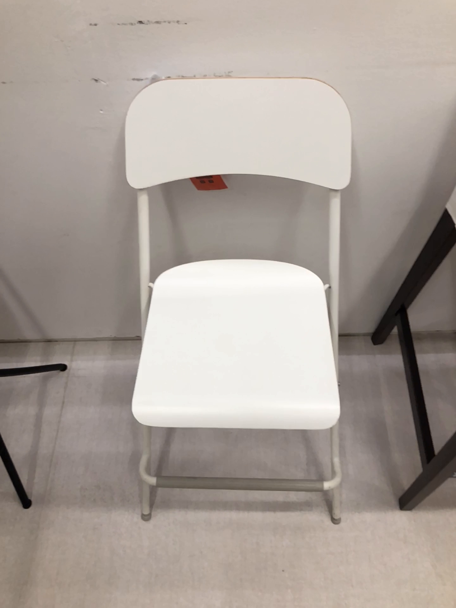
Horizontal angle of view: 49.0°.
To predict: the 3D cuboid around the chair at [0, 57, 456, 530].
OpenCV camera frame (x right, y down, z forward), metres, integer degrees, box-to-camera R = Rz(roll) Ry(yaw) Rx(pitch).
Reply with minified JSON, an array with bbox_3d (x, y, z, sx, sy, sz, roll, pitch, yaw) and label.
[{"bbox_3d":[0.016,0.094,0.976,0.530,0.895,0.483,-1,56,2],"label":"chair"}]
